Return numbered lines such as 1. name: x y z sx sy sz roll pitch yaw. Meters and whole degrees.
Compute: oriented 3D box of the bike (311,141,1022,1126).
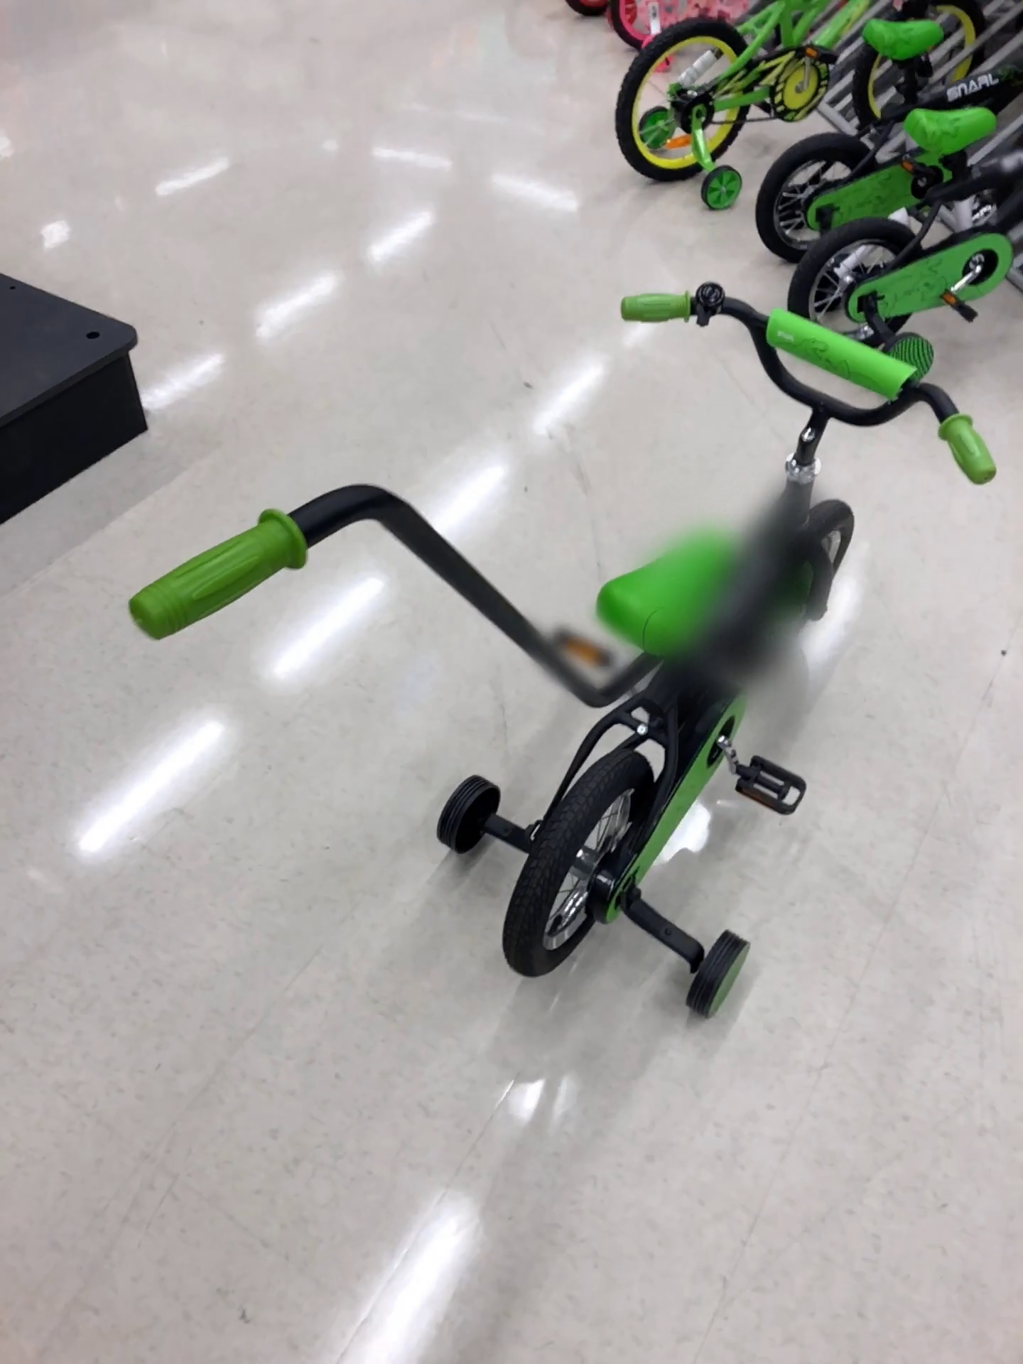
1. bike: 0.260 -0.100 1.337 0.492 0.599 0.848 27 55 23
